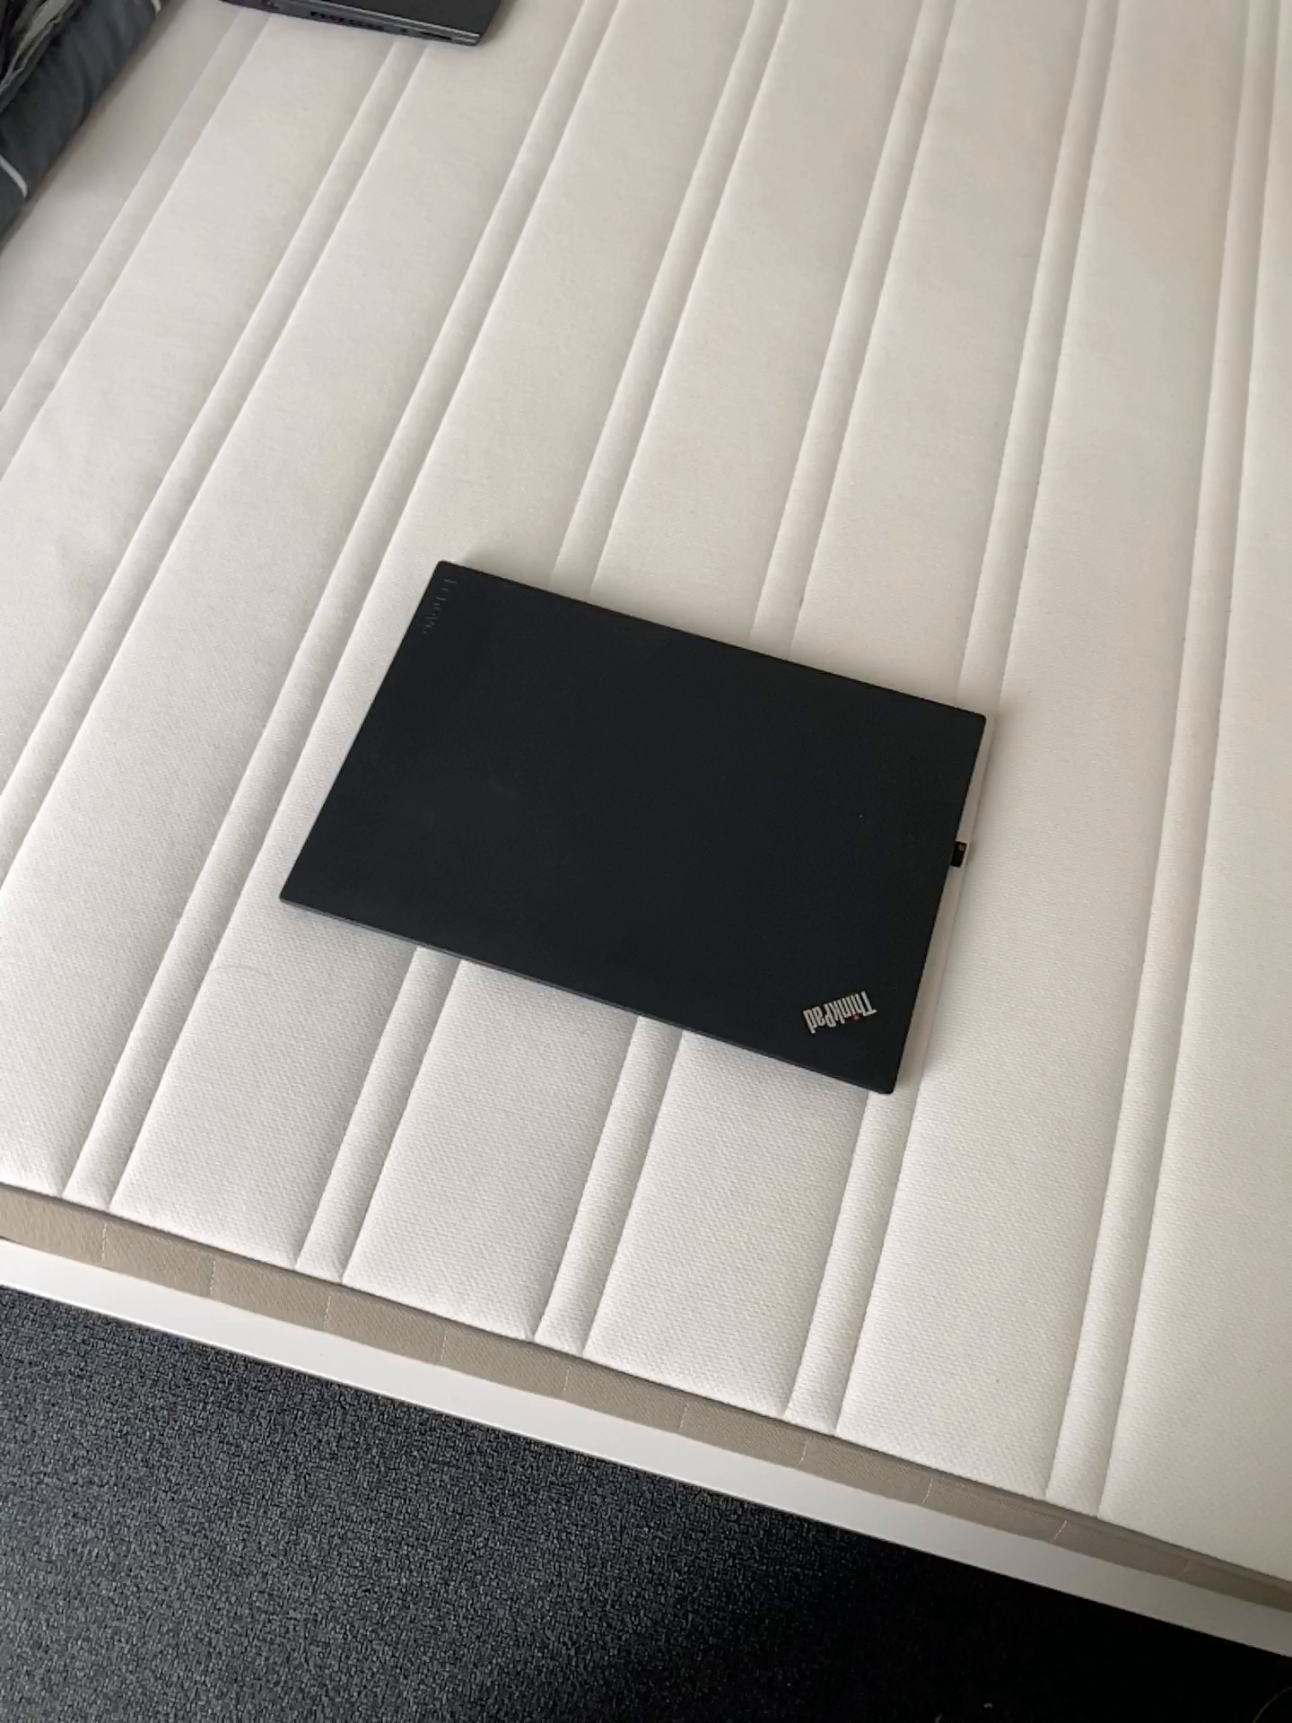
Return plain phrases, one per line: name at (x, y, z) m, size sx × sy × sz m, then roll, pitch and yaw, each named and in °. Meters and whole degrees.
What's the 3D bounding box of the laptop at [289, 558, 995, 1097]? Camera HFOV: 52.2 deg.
laptop at (0.004, -0.025, 0.627) m, size 0.288 × 0.005 × 0.193 m, roll 17°, pitch 69°, yaw 5°
